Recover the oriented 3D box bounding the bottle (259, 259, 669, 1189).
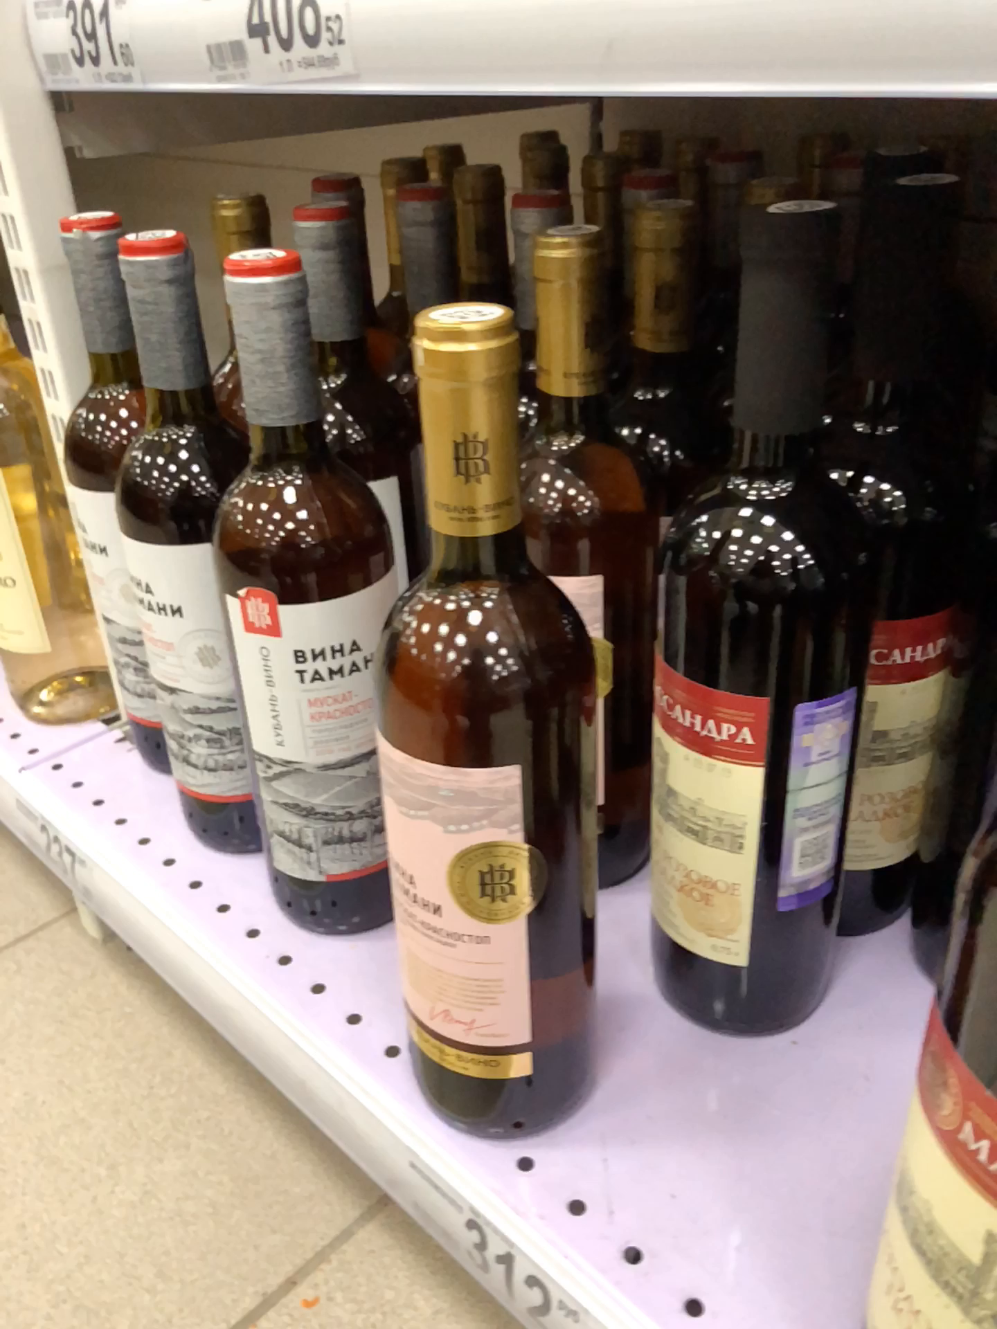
[{"bbox_3d":[-0.002,0.030,0.355,0.080,0.290,0.070,17,35,32],"label":"bottle"}]
